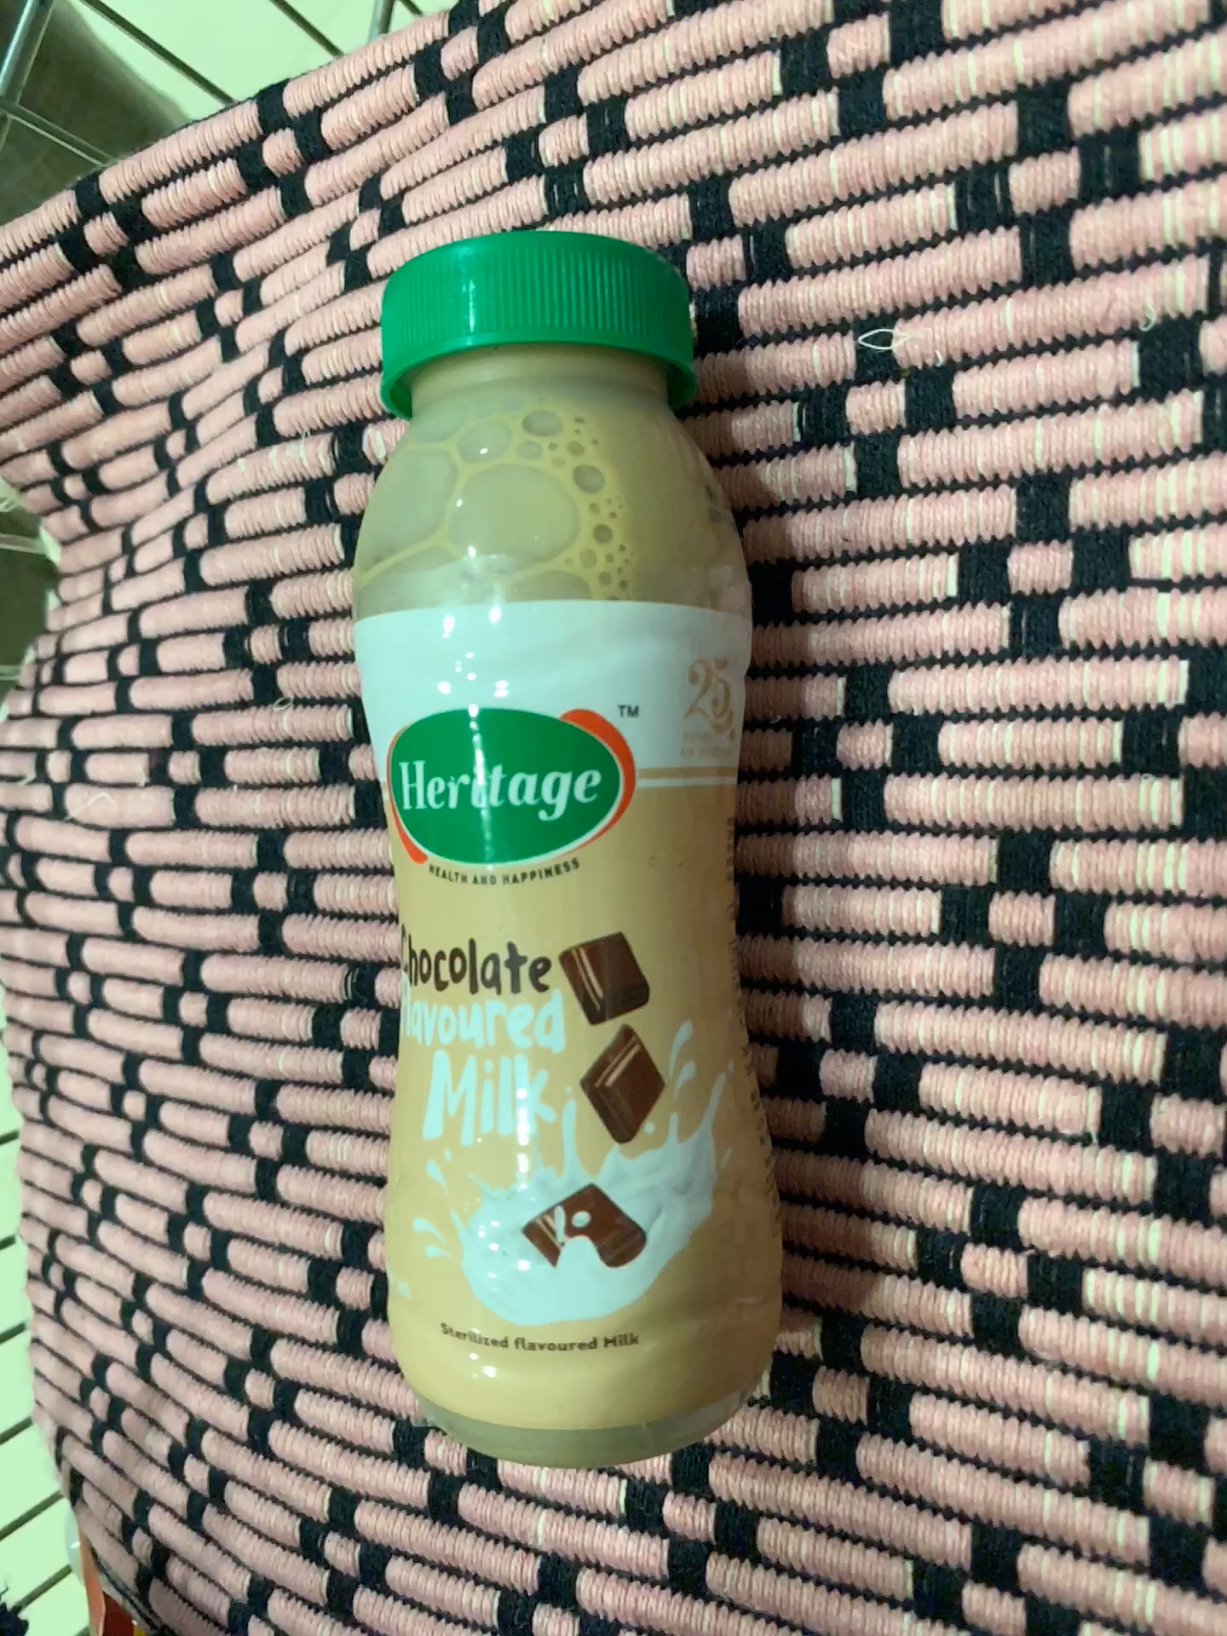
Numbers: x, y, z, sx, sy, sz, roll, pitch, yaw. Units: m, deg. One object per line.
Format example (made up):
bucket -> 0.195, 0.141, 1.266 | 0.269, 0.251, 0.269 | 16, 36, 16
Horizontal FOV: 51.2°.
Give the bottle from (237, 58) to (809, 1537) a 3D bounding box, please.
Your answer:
bottle -> -0.007, -0.002, 0.154 | 0.050, 0.050, 0.140 | -1, 87, 22
